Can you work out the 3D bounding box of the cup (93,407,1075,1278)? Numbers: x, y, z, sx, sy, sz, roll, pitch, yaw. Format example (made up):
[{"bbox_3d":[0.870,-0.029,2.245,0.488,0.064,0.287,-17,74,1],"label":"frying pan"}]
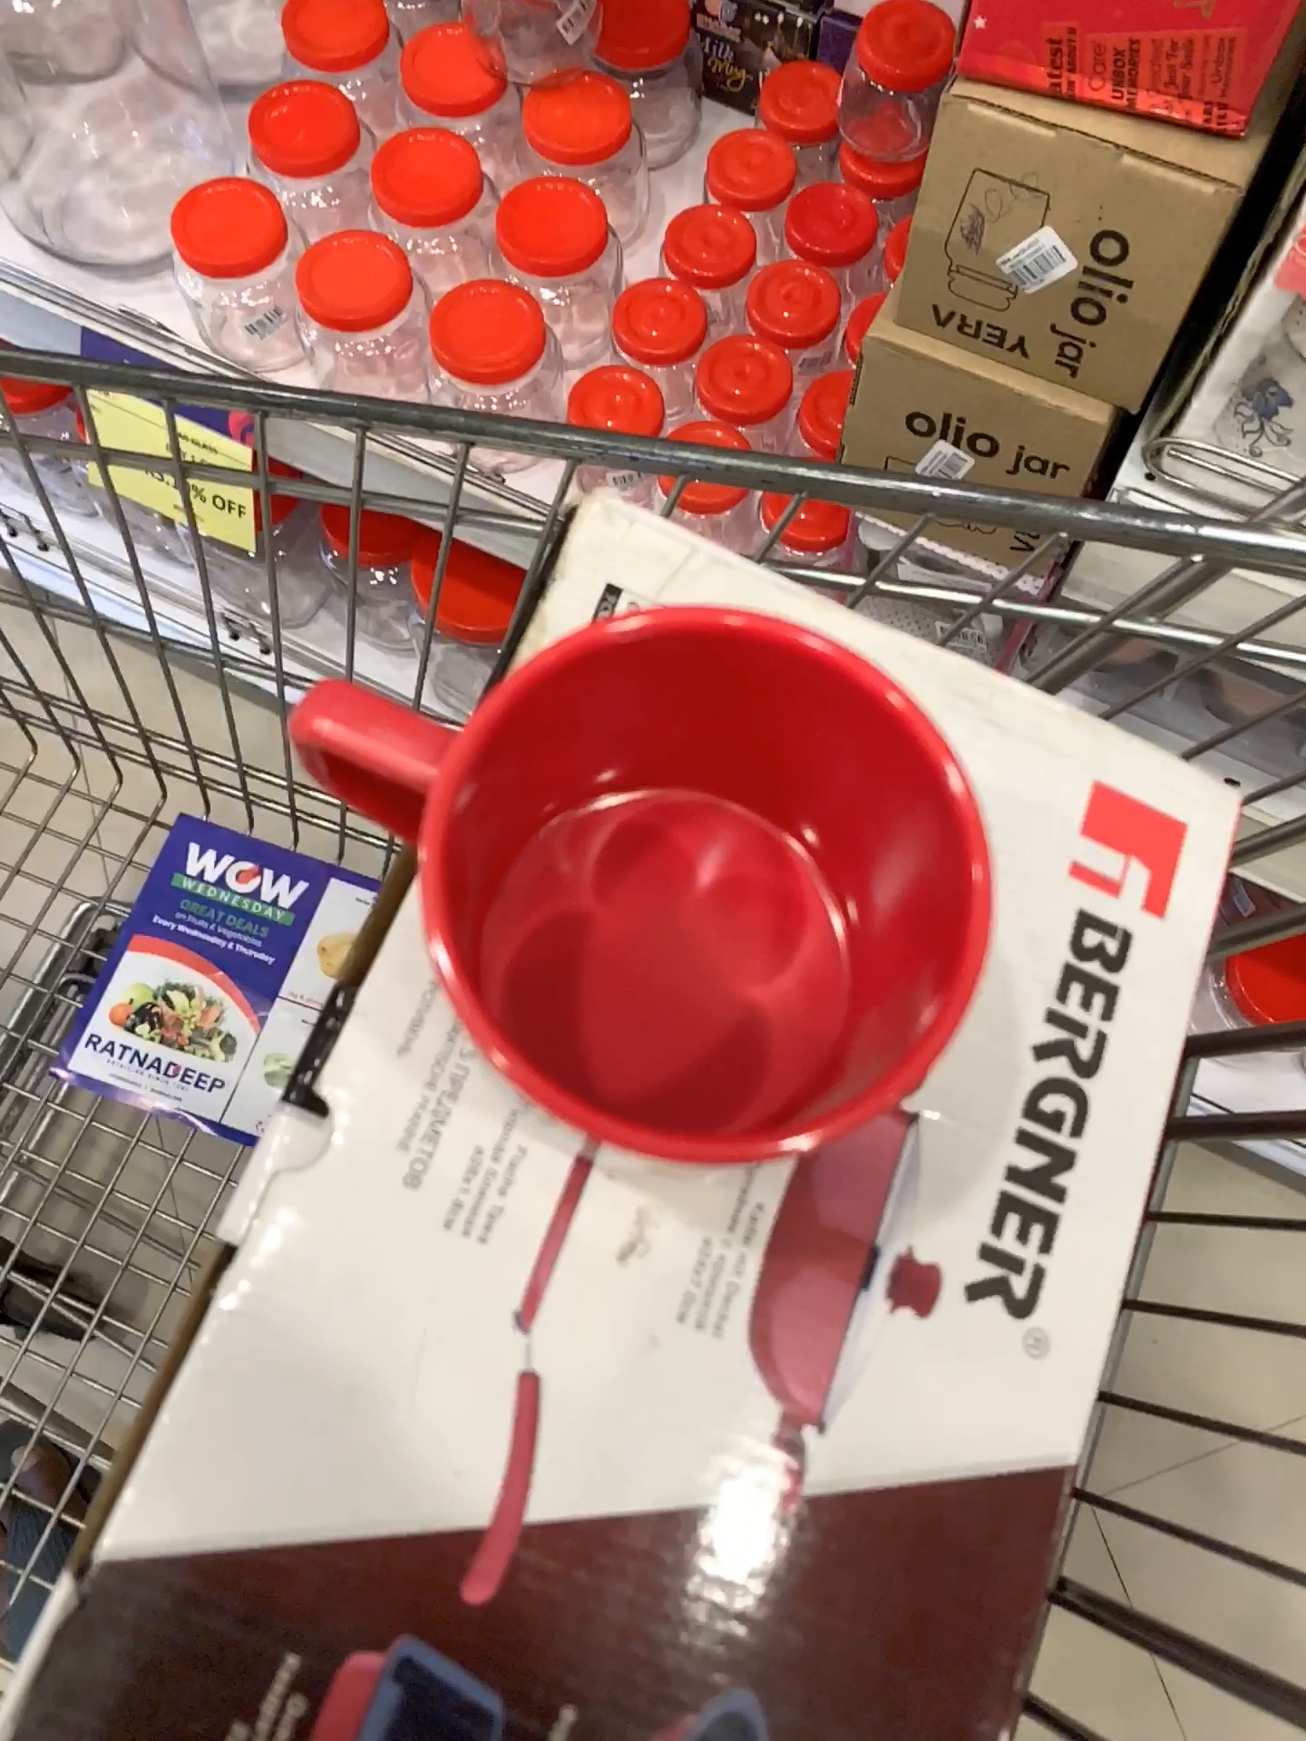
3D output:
[{"bbox_3d":[-0.007,0.001,0.181,0.090,0.060,0.070,27,72,6],"label":"cup"}]
